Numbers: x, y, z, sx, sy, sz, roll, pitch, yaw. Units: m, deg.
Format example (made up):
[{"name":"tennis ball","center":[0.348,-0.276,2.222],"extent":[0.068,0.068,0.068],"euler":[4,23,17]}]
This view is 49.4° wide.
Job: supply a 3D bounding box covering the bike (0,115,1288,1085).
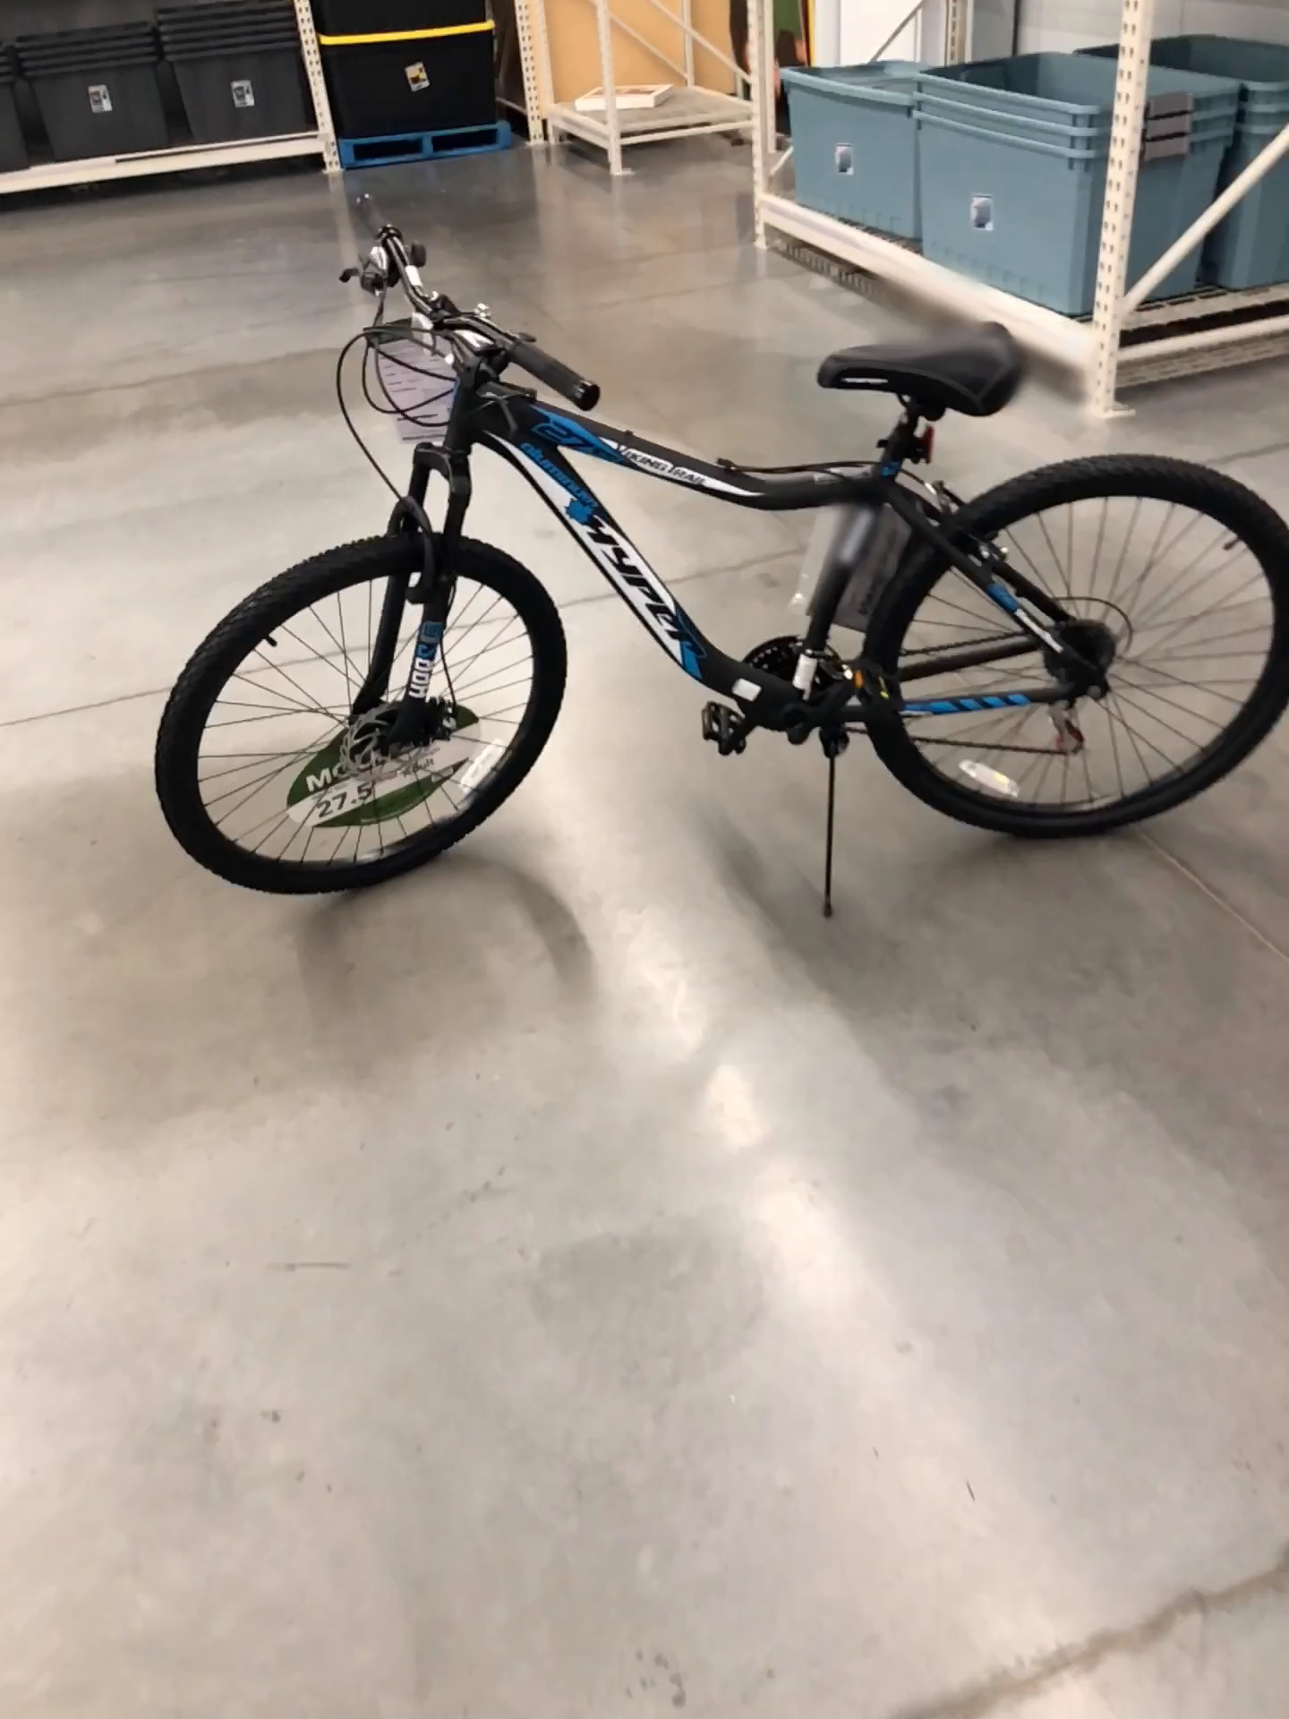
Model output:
[{"name":"bike","center":[0.126,-0.362,1.997],"extent":[1.632,0.986,0.576],"euler":[-8,35,-2]}]
